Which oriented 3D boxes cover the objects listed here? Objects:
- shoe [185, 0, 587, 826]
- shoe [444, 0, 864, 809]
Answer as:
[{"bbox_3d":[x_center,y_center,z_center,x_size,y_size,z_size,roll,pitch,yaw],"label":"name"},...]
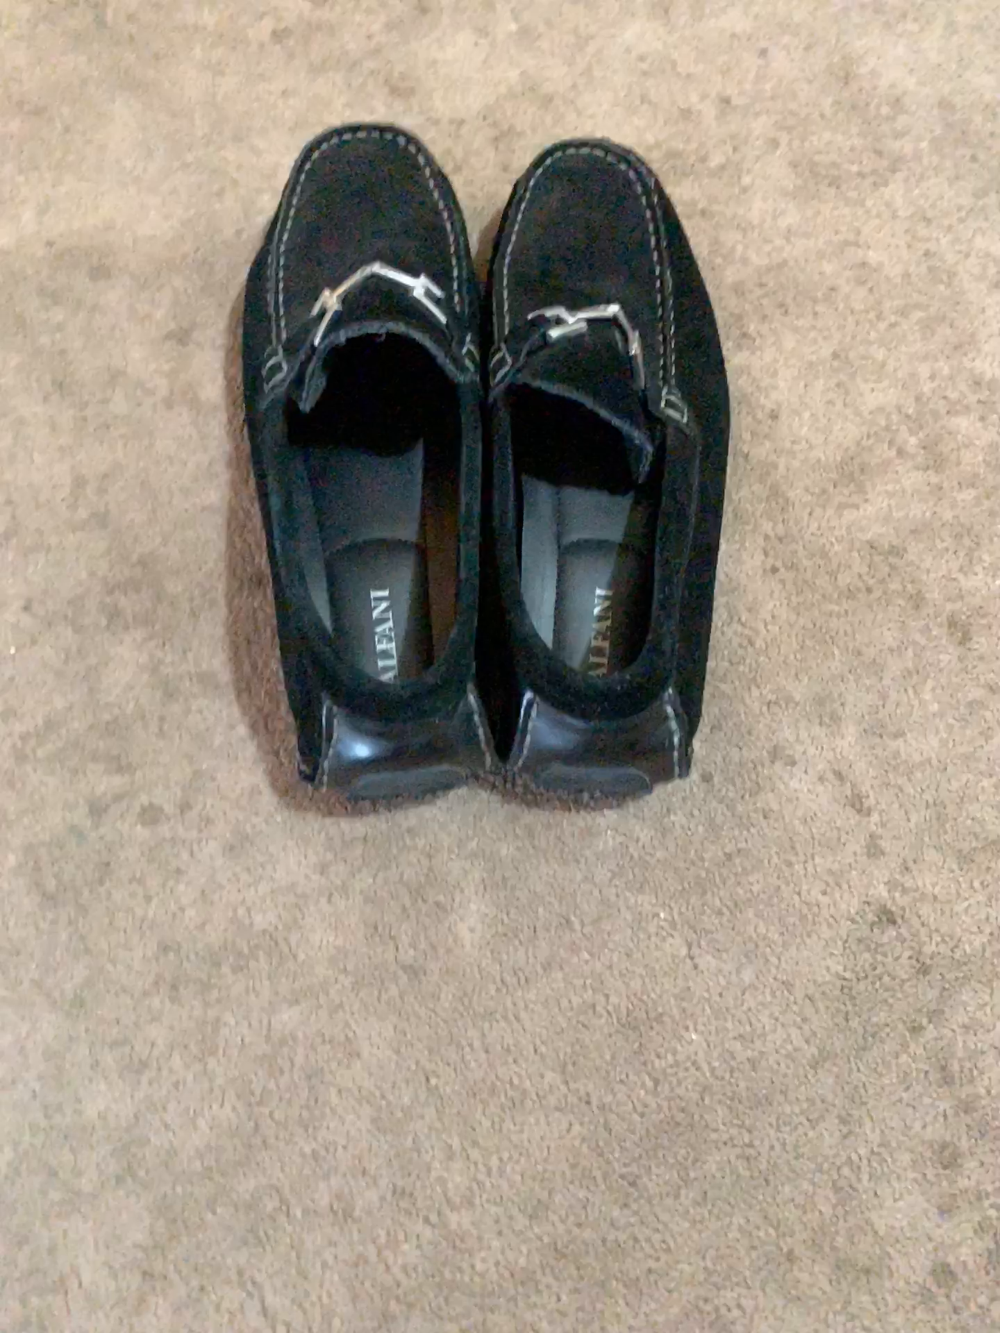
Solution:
[{"bbox_3d":[-0.050,-0.105,0.379,0.100,0.100,0.301,-5,71,-8],"label":"shoe"},{"bbox_3d":[0.038,-0.108,0.381,0.100,0.100,0.301,-2,70,-7],"label":"shoe"}]
